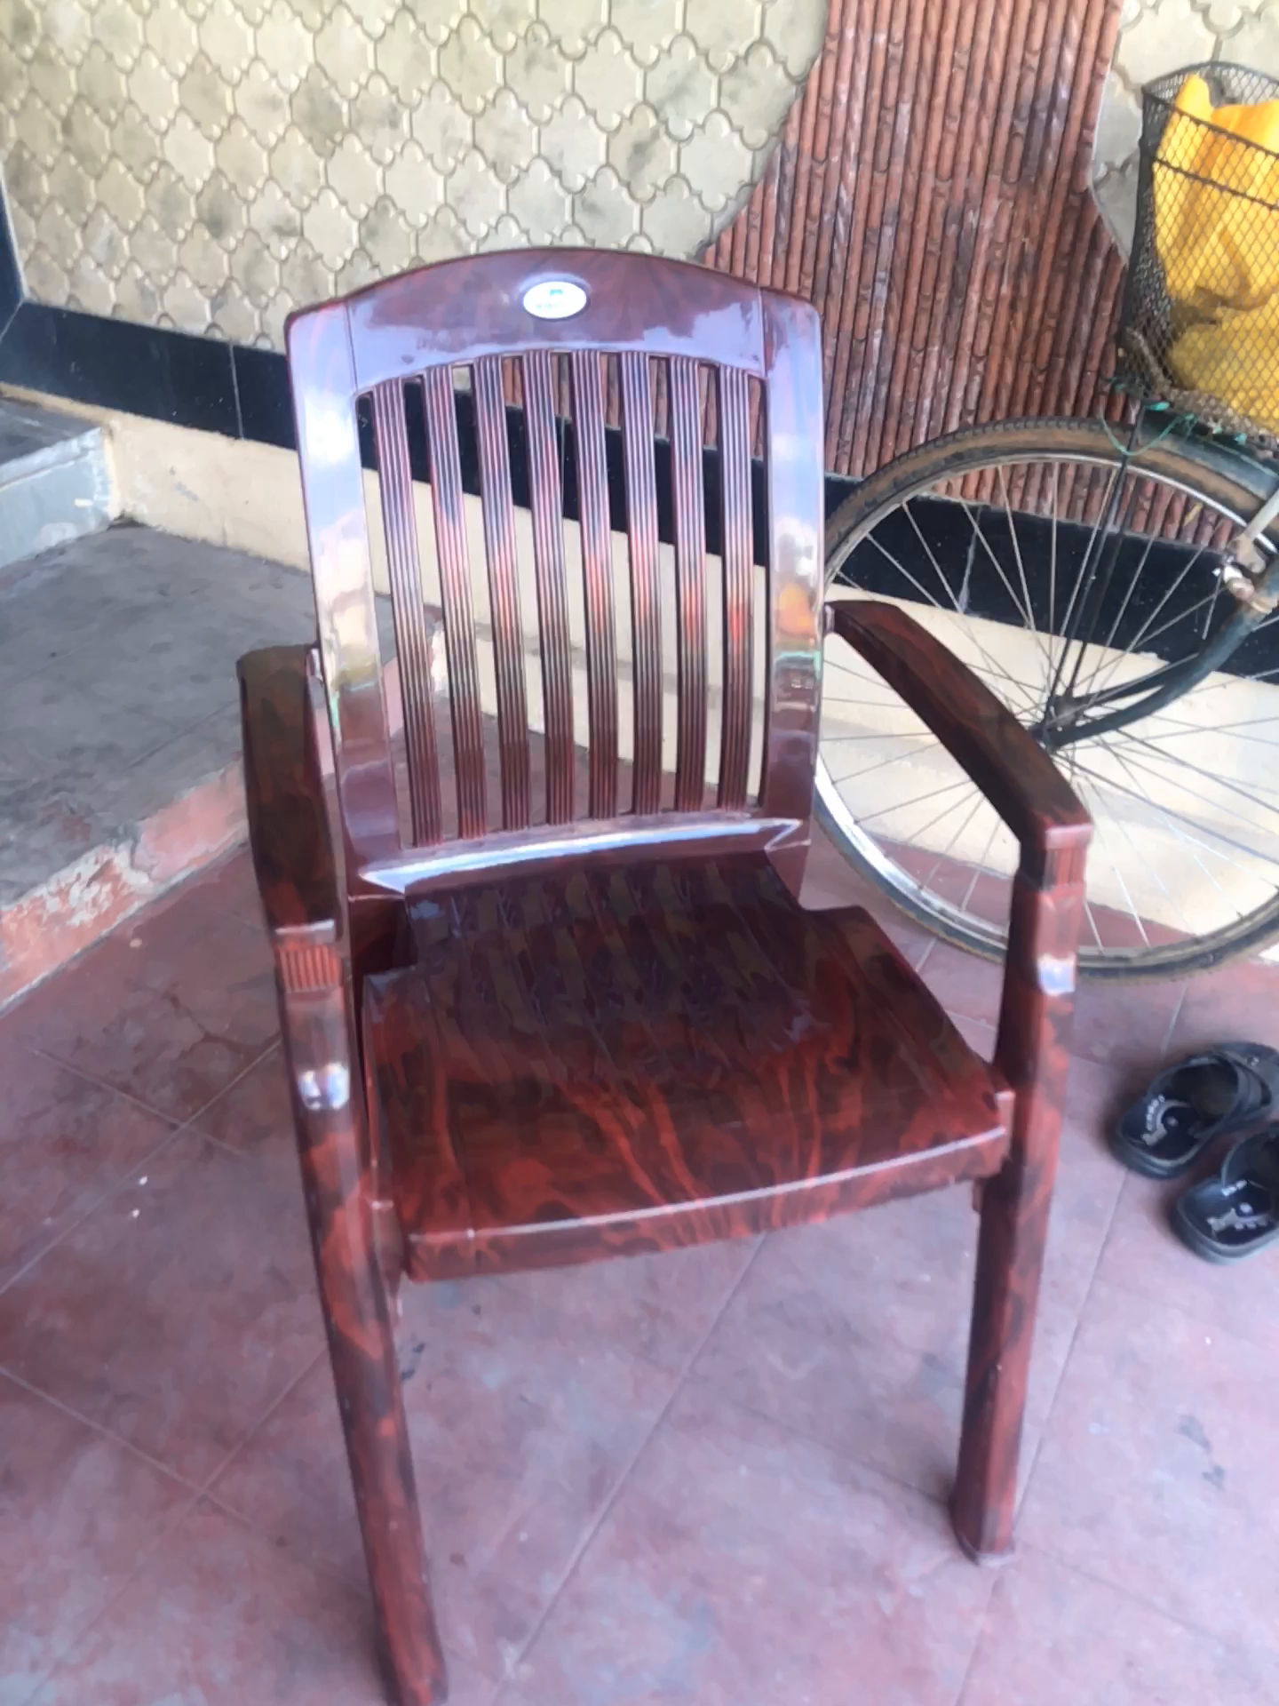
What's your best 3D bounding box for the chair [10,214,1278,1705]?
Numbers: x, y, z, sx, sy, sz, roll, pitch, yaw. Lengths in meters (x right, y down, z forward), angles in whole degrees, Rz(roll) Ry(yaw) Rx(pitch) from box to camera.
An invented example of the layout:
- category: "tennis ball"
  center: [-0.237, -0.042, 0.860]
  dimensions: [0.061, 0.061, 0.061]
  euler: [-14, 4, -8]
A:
- category: "chair"
  center: [-0.019, 0.042, 1.063]
  dimensions: [0.591, 0.845, 0.703]
  euler: [-6, 35, -11]
